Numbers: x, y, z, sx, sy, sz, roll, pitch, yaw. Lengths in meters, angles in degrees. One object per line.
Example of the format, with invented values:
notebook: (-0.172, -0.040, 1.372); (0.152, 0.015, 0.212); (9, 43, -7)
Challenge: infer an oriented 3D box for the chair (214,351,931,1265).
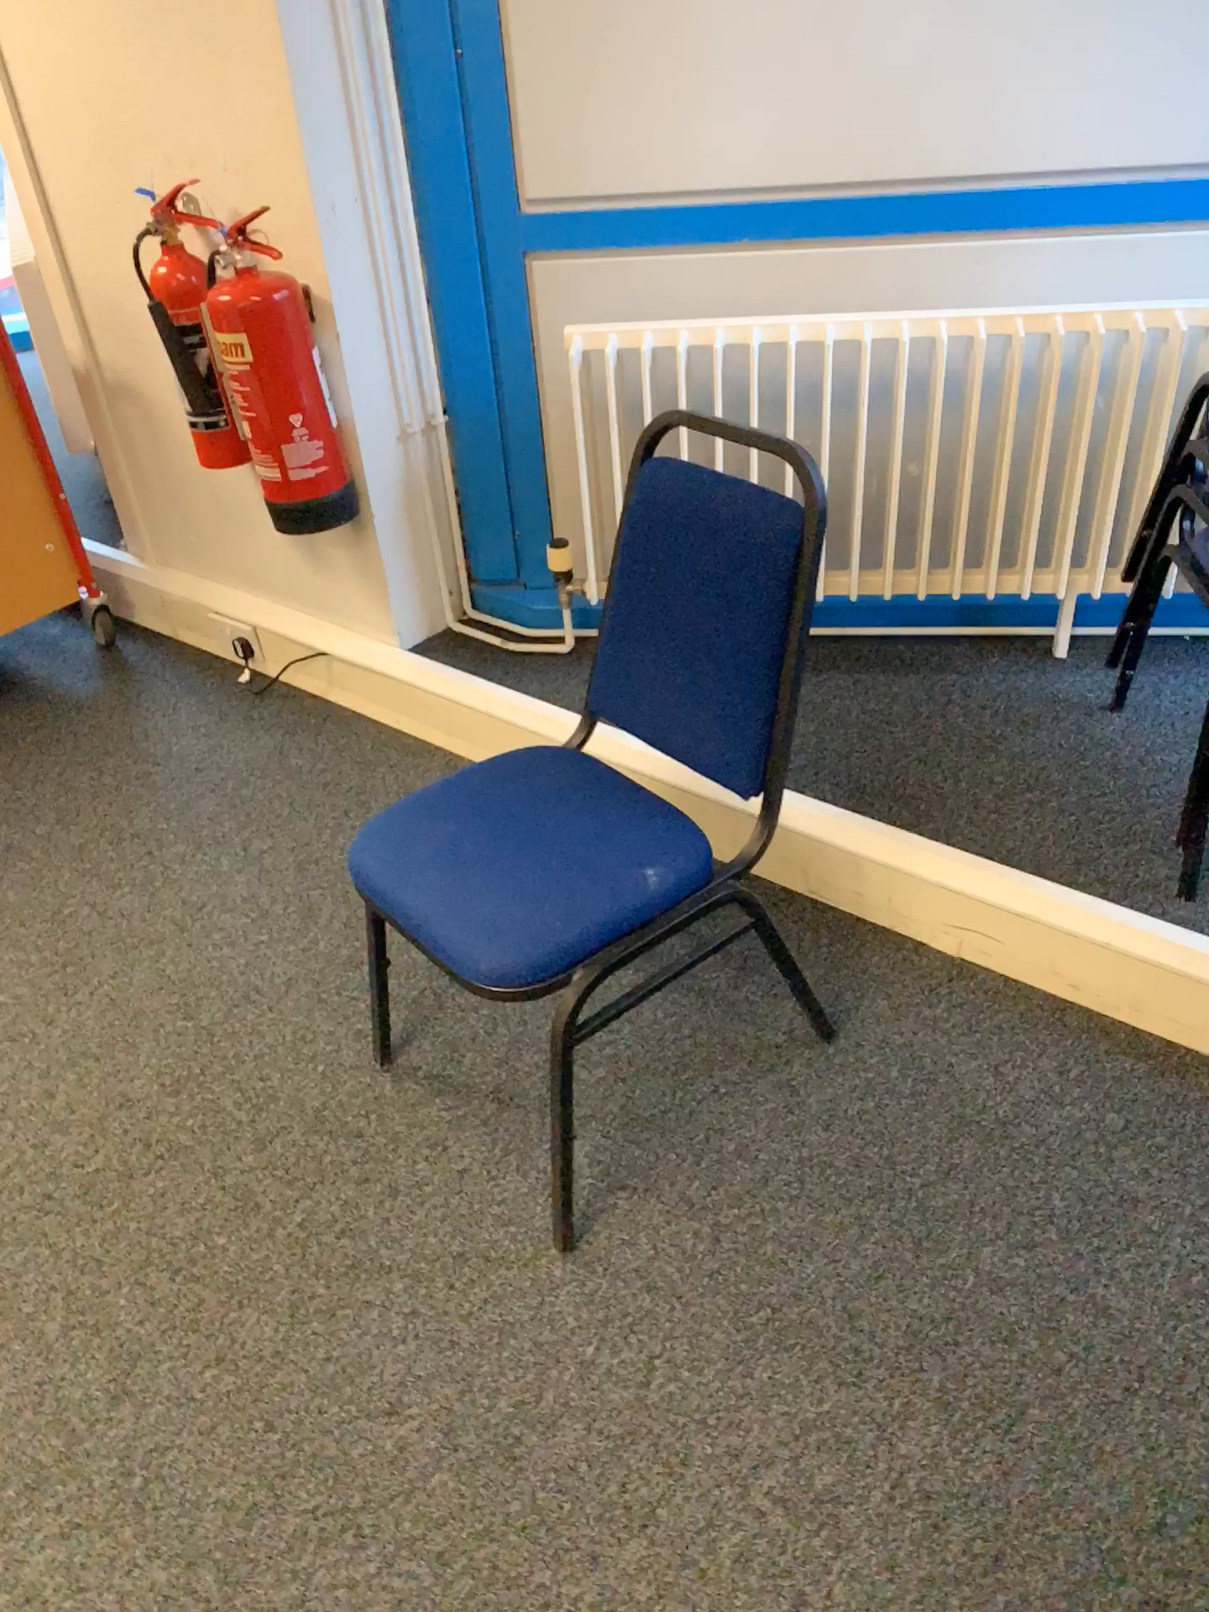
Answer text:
chair: (-0.006, -0.017, 1.515); (0.576, 0.843, 0.475); (-29, 42, -30)
